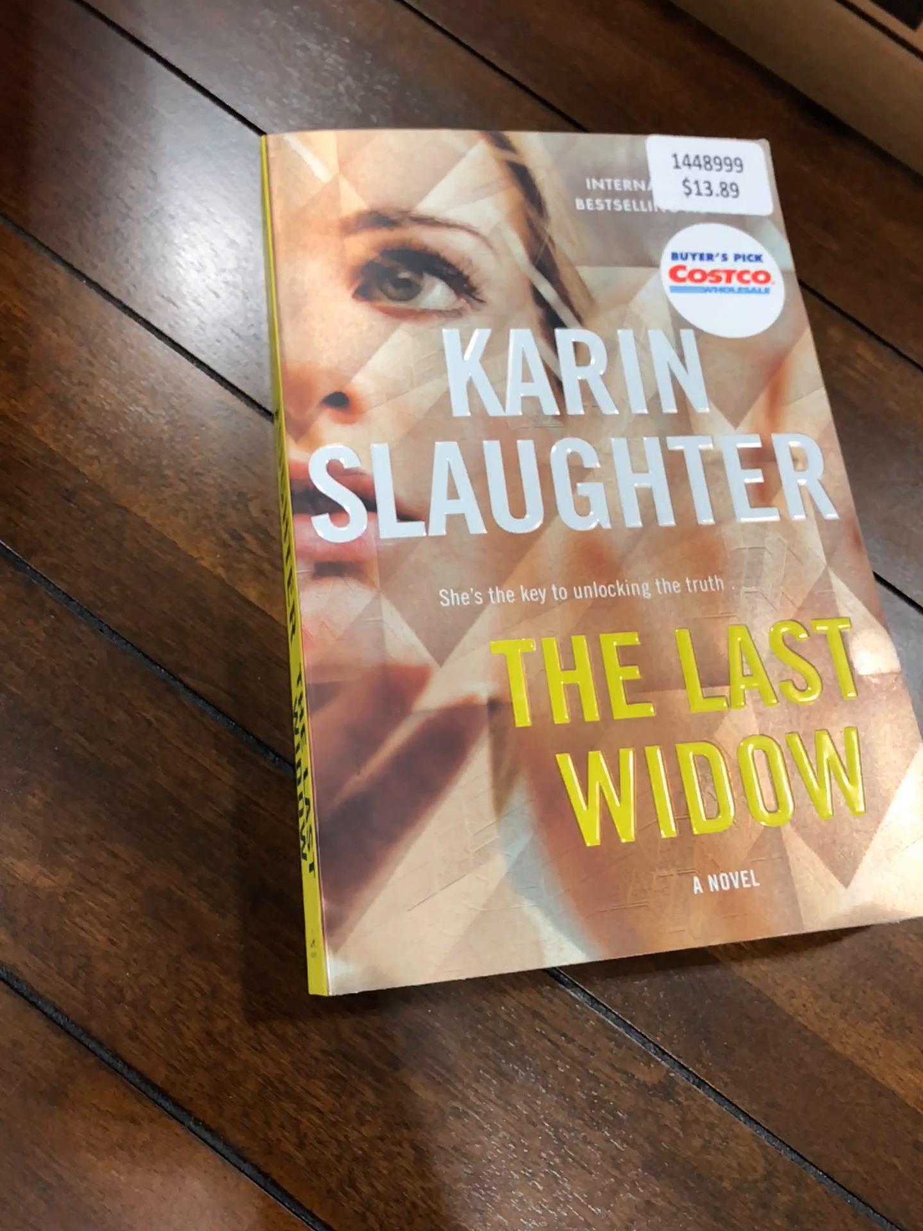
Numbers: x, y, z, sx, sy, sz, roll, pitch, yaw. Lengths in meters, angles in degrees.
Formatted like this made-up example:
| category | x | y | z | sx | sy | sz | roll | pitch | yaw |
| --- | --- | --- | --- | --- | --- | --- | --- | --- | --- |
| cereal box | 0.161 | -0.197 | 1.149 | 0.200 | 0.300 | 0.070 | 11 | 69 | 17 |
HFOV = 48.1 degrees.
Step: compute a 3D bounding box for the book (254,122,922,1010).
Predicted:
| category | x | y | z | sx | sy | sz | roll | pitch | yaw |
| --- | --- | --- | --- | --- | --- | --- | --- | --- | --- |
| book | 0.028 | -0.025 | 0.281 | 0.154 | 0.042 | 0.230 | -3 | 72 | -9 |
